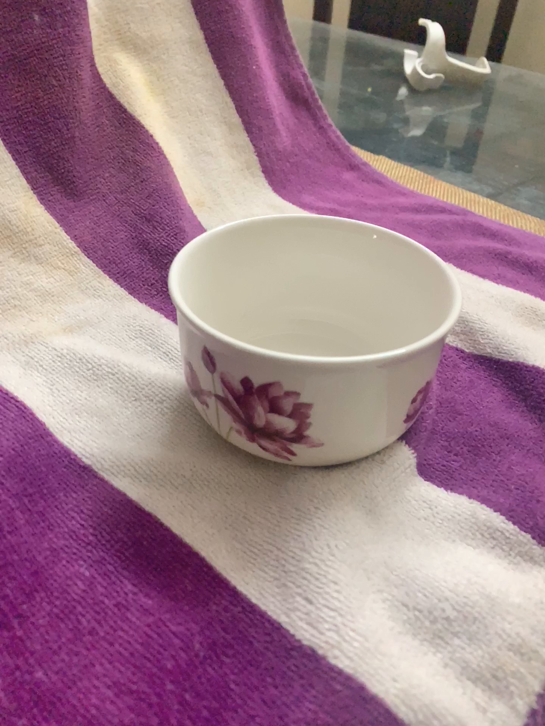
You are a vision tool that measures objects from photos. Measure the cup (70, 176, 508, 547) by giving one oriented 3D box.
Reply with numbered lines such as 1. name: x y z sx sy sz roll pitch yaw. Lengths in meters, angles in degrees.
1. cup: 0.009 -0.014 0.203 0.100 0.050 0.111 27 44 26
